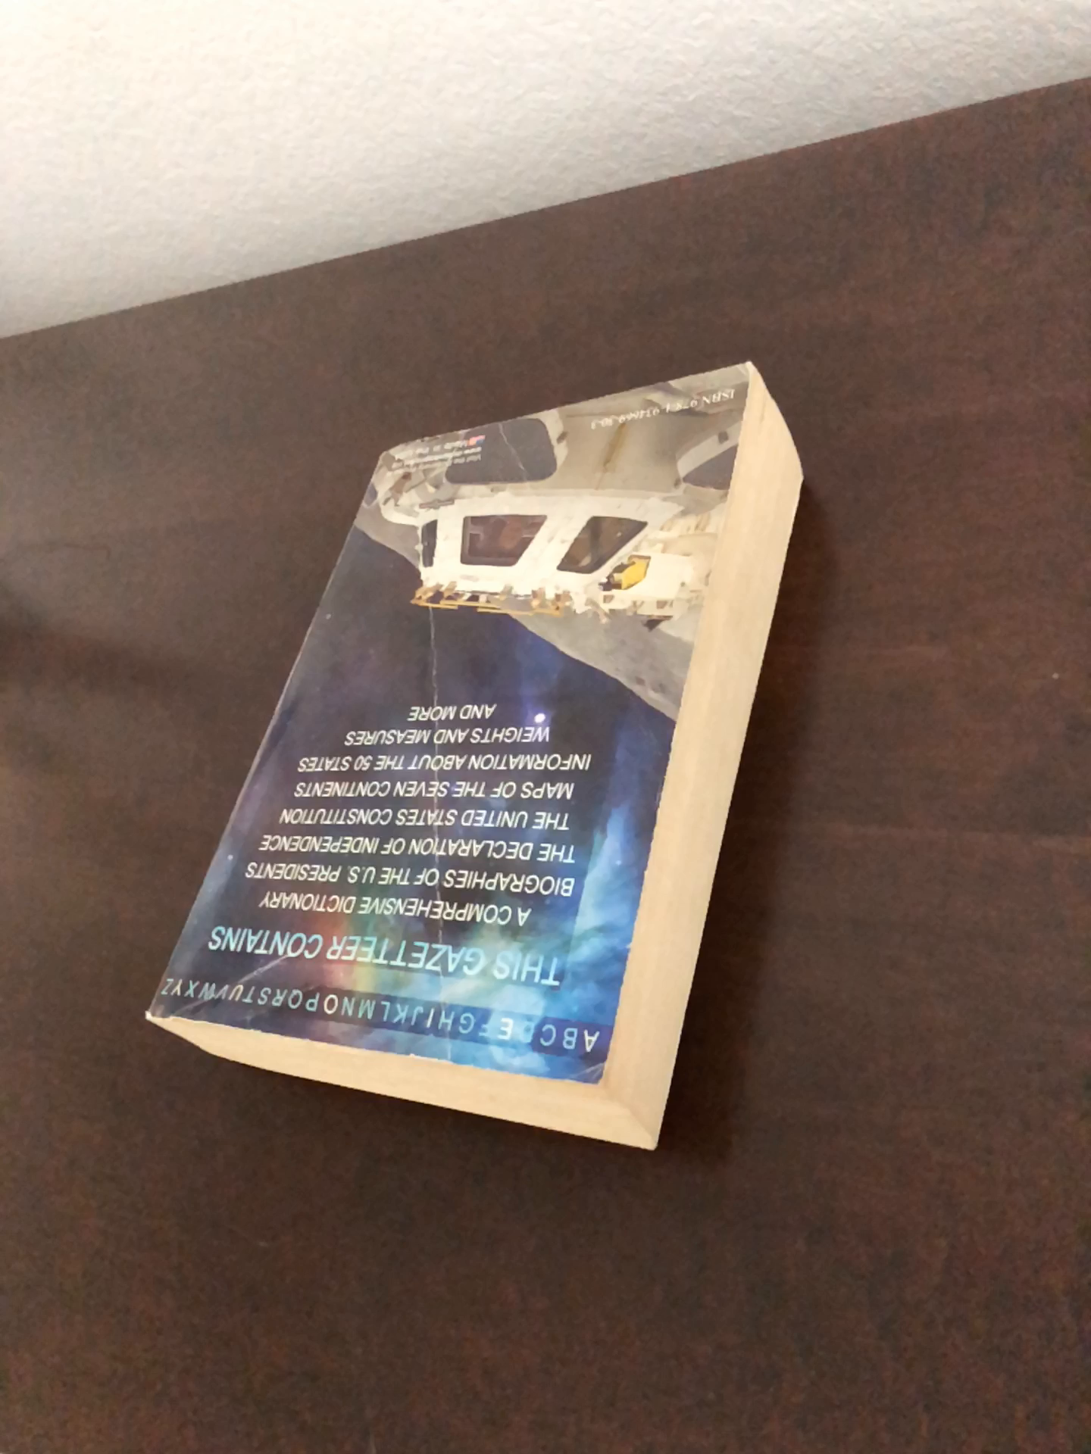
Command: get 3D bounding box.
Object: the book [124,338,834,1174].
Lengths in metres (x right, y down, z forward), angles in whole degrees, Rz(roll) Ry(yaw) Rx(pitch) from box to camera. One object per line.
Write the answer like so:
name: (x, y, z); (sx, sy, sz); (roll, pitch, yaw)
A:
book: (-0.014, 0.000, 0.319); (0.140, 0.040, 0.196); (-3, 59, 36)
